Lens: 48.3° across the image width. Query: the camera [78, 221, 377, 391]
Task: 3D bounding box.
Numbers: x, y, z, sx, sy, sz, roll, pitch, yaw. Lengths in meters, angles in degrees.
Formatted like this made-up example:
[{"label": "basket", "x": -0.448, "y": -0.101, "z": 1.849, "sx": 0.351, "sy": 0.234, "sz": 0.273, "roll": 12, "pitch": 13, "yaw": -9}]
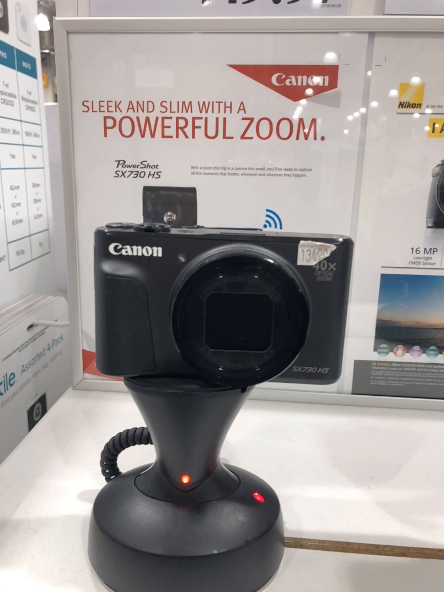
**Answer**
[{"label": "camera", "x": 0.002, "y": 0.002, "z": 0.208, "sx": 0.110, "sy": 0.060, "sz": 0.040, "roll": 2, "pitch": 14, "yaw": 2}]
